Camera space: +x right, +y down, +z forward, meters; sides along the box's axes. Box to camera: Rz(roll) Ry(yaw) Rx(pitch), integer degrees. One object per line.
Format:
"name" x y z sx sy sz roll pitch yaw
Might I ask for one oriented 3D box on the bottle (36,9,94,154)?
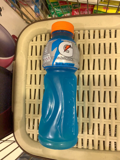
"bottle" 0.006 0.003 0.214 0.080 0.060 0.210 2 88 -6
